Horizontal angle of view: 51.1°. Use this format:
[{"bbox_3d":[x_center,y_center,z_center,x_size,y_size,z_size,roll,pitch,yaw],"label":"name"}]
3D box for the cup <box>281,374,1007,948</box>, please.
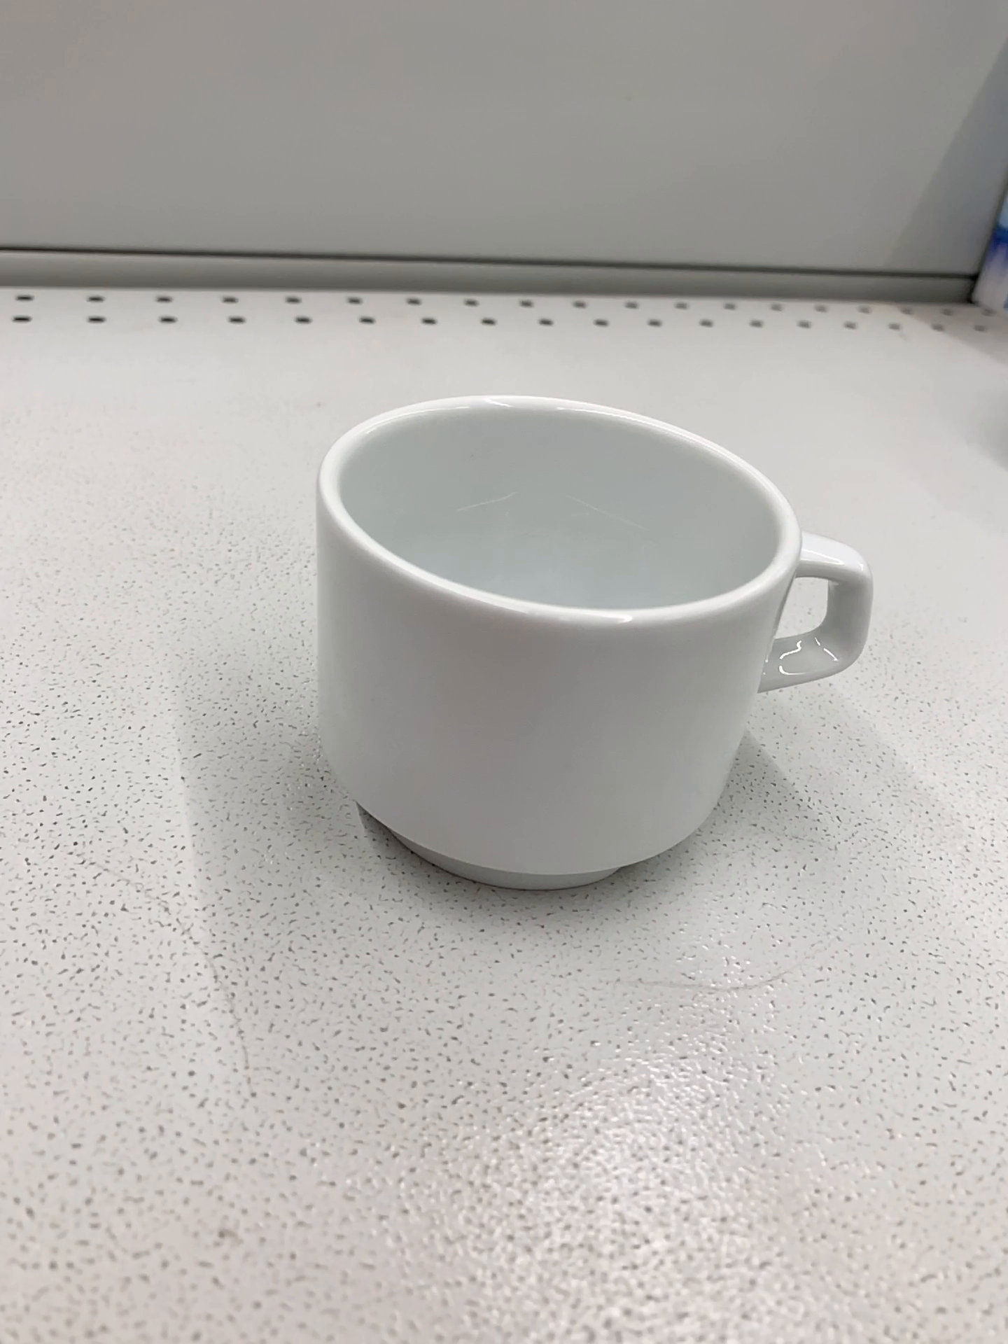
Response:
[{"bbox_3d":[0.019,-0.010,0.185,0.105,0.056,0.082,-4,37,-16],"label":"cup"}]
